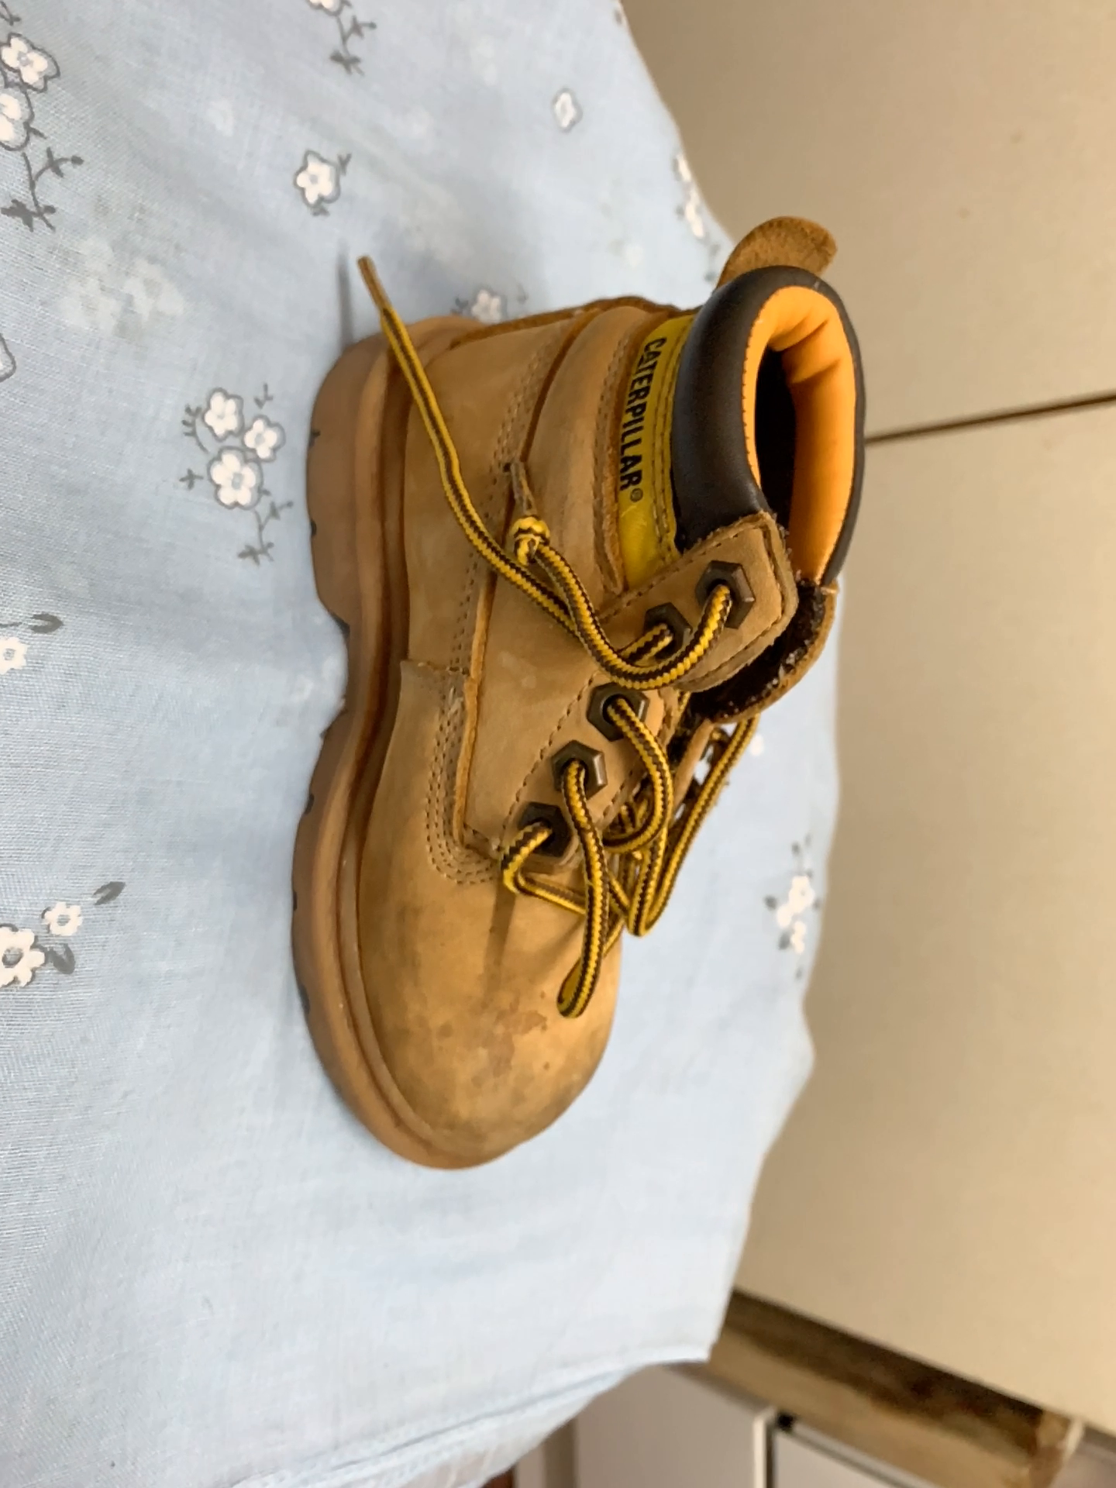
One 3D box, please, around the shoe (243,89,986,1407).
[{"bbox_3d":[0.010,0.000,0.244,0.096,0.119,0.190,0,91,-47],"label":"shoe"}]
